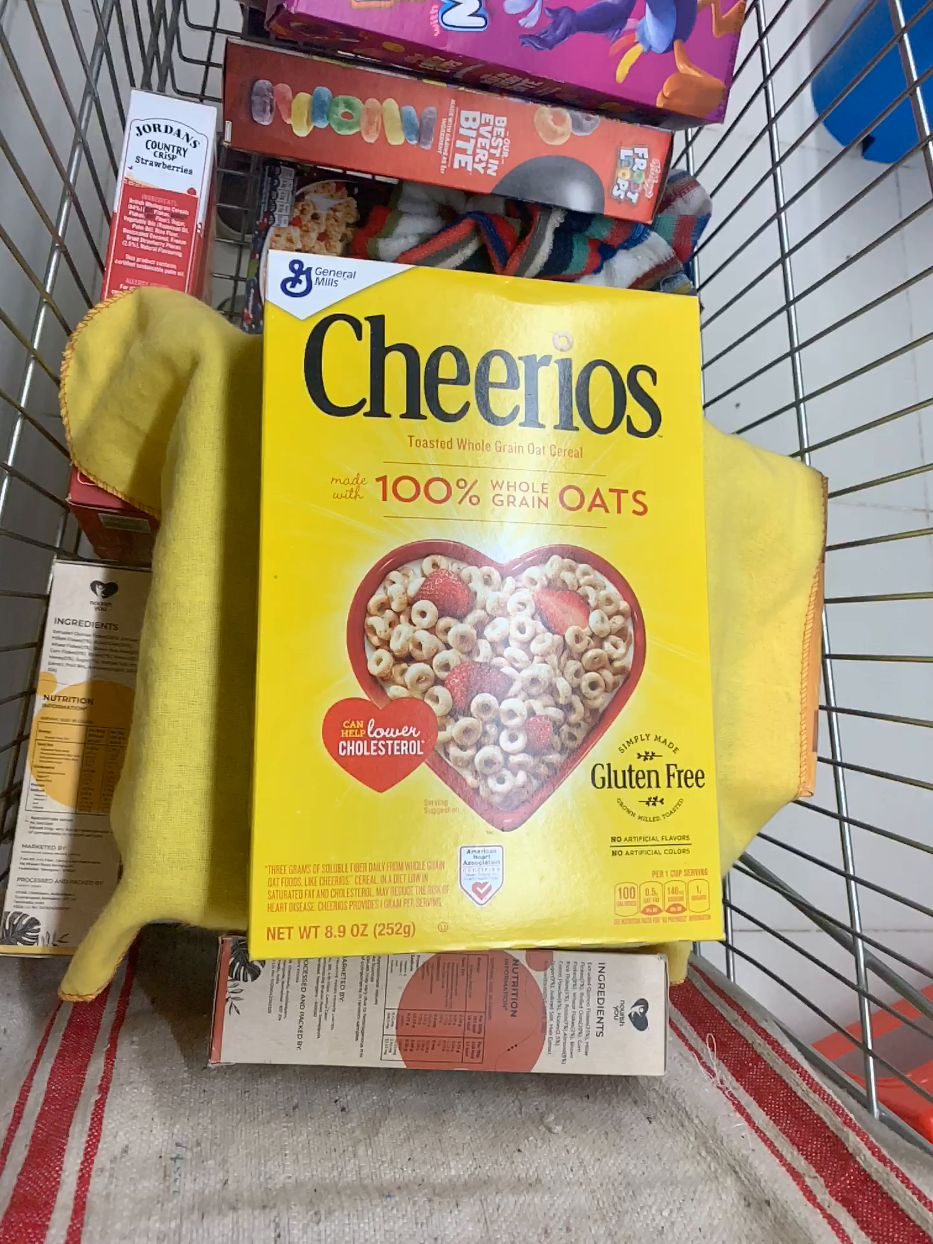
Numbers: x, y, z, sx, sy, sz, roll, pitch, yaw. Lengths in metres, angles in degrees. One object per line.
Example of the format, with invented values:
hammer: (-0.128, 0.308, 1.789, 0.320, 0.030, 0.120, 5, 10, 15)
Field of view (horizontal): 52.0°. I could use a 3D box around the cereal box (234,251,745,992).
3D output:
cereal box: (0.006, -0.001, 0.394, 0.190, 0.060, 0.270, 1, 82, -12)
